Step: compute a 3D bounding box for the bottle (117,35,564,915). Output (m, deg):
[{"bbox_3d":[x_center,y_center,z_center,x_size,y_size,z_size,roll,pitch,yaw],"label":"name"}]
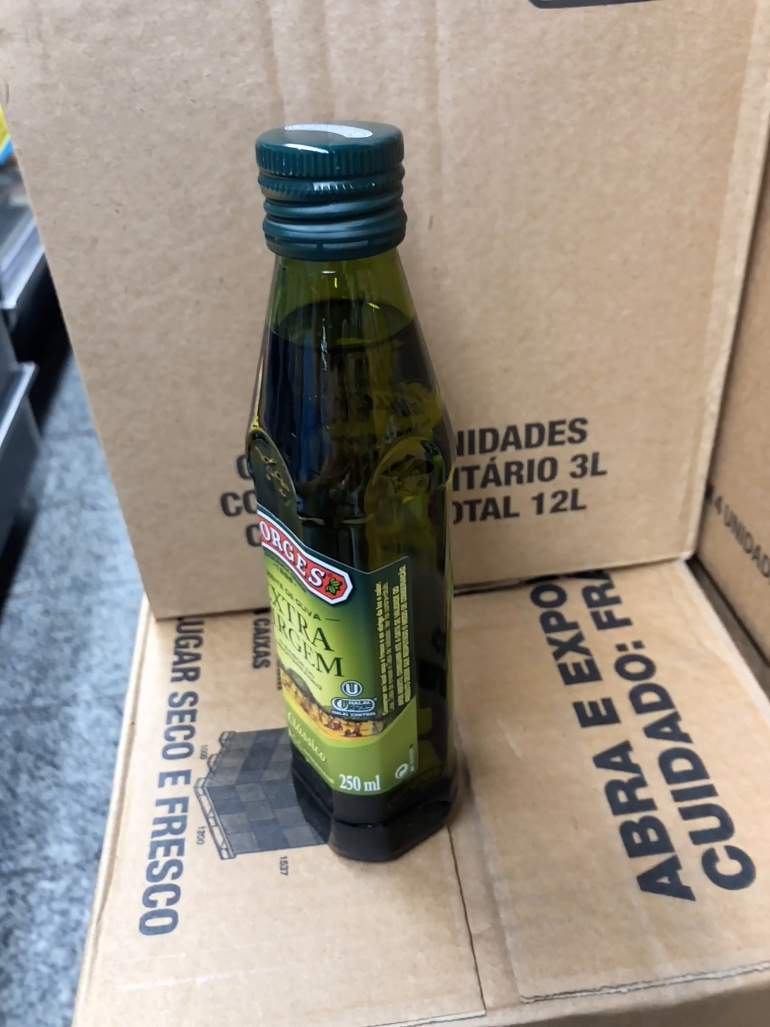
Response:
[{"bbox_3d":[-0.005,0.005,0.226,0.060,0.218,0.060,-2,36,1],"label":"bottle"}]
